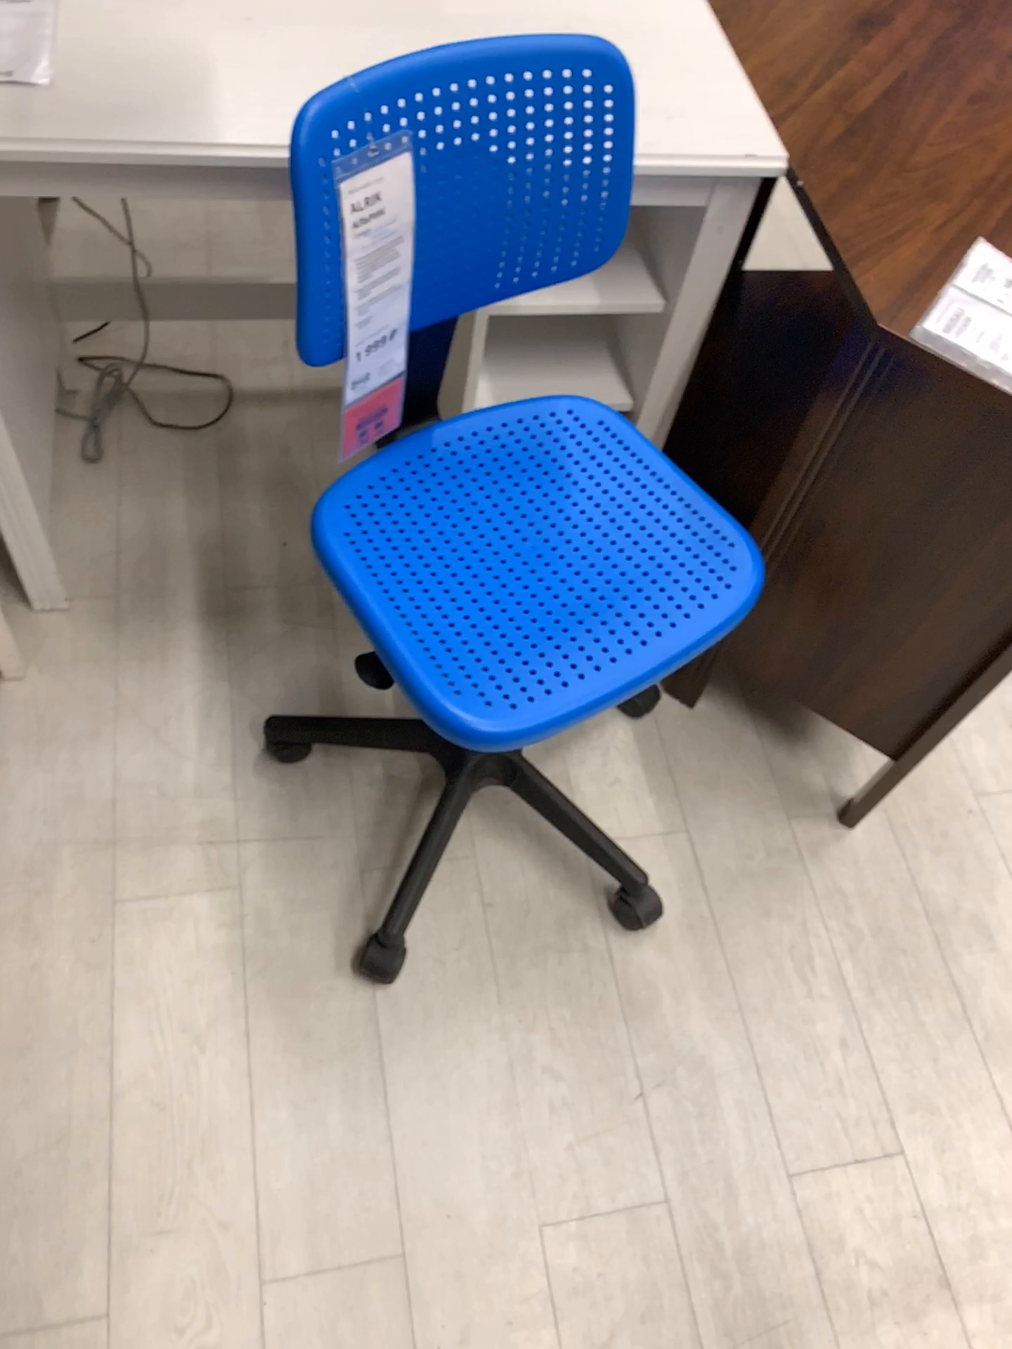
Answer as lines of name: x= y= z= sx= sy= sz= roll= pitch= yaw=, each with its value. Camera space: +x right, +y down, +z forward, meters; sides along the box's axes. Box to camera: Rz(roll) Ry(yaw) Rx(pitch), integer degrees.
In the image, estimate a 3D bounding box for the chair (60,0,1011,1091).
chair: x=0.029 y=-0.084 z=1.134 sx=0.611 sy=0.857 sz=0.621 roll=-26 pitch=65 yaw=-23
